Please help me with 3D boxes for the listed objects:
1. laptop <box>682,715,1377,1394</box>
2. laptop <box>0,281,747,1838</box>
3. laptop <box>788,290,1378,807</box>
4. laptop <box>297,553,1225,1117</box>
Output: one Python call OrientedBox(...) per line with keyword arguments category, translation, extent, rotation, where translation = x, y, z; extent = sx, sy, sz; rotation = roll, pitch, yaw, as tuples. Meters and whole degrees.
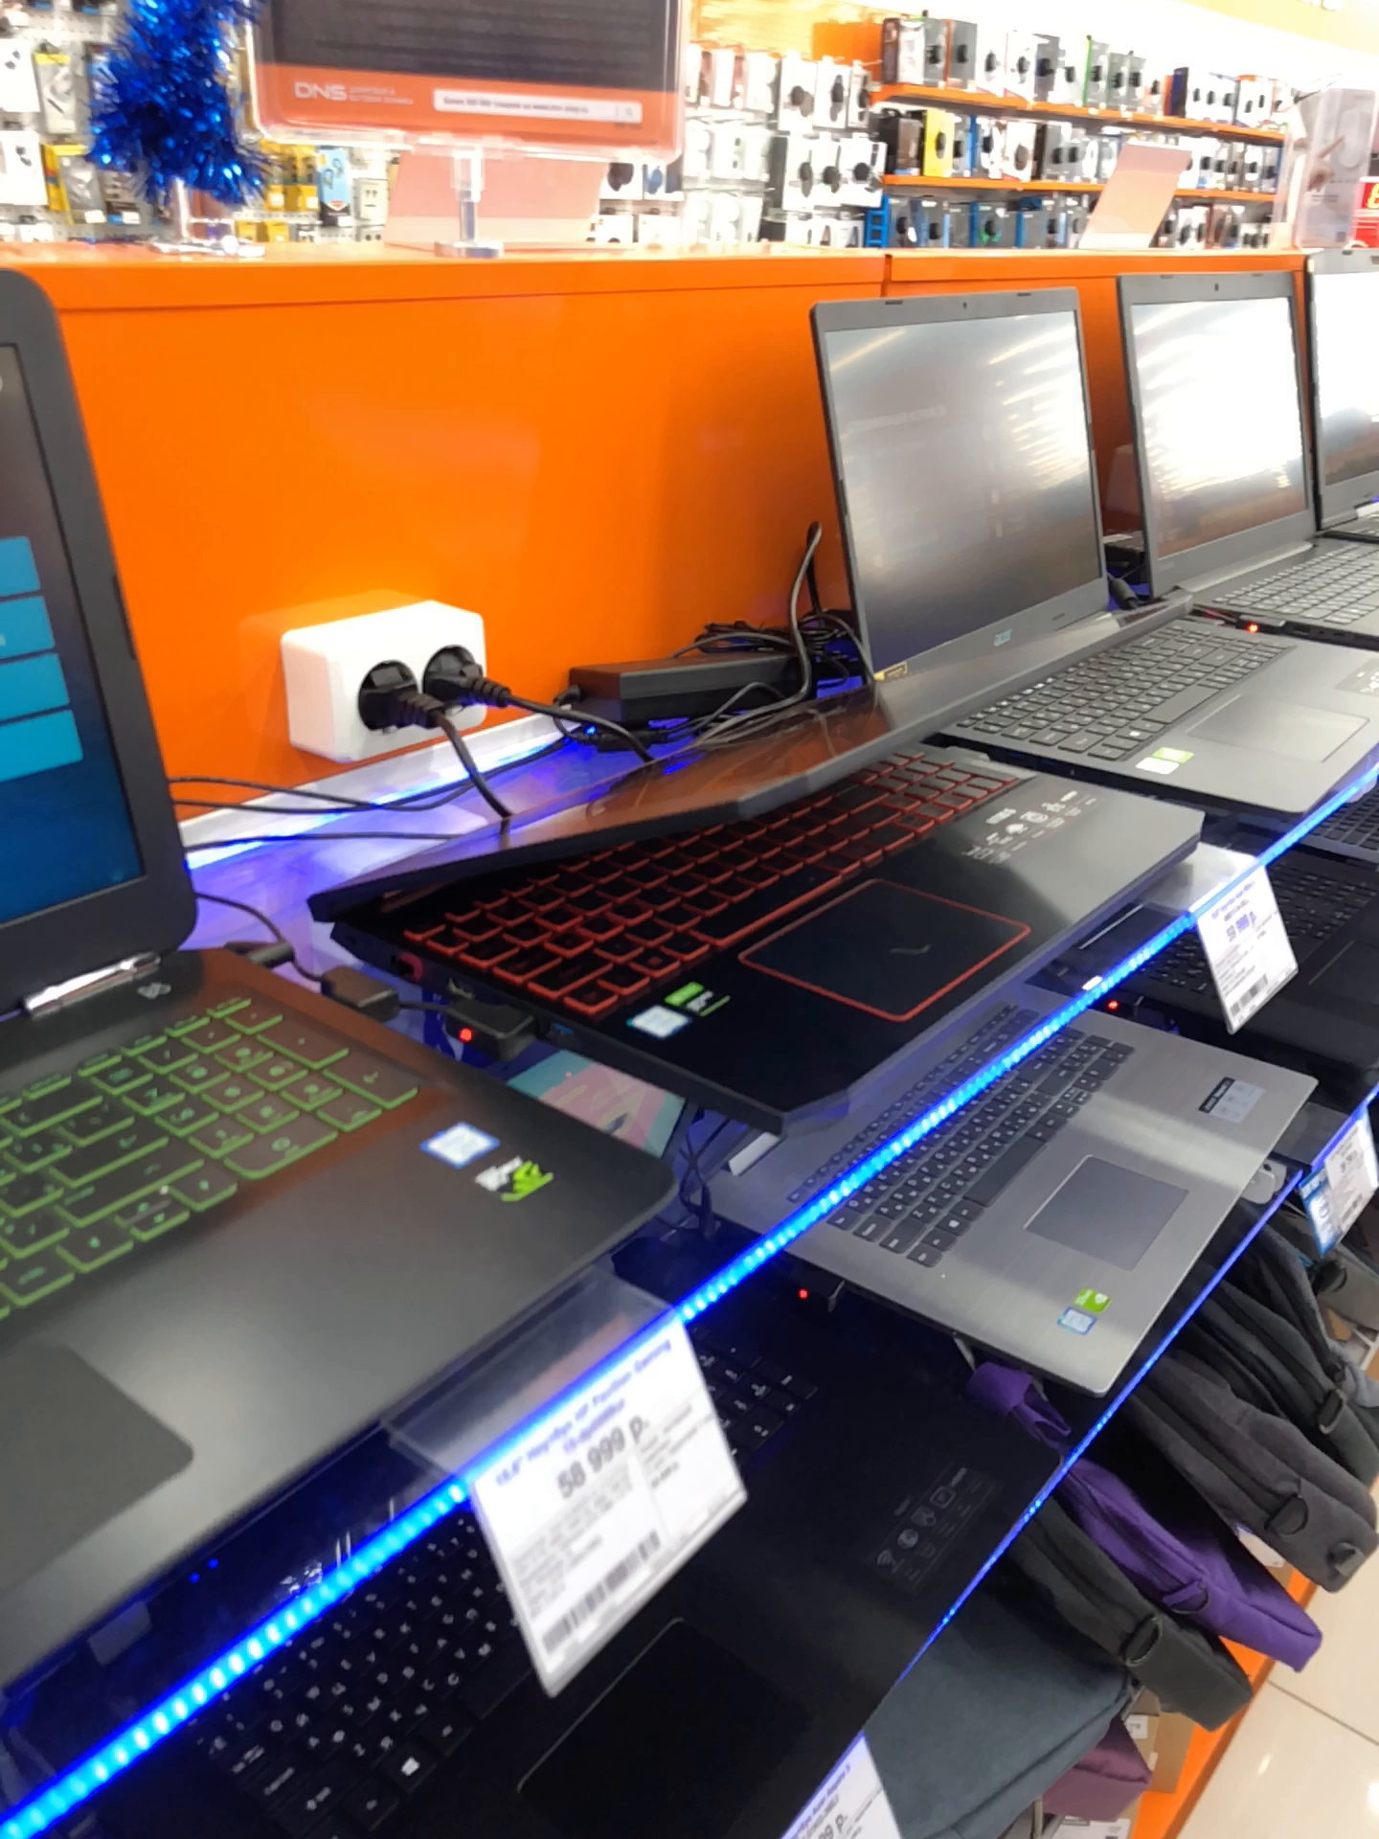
OrientedBox(category="laptop", translation=(0.232, 0.048, 1.011), extent=(0.296, 0.221, 0.406), rotation=(18, 30, 33))
OrientedBox(category="laptop", translation=(-0.252, -0.009, 0.359), extent=(0.310, 0.250, 0.416), rotation=(19, 30, 34))
OrientedBox(category="laptop", translation=(0.298, -0.260, 0.947), extent=(0.312, 0.226, 0.344), rotation=(19, 30, 33))
OrientedBox(category="laptop", translation=(0.049, -0.072, 0.682), extent=(0.248, 0.103, 0.359), rotation=(19, 30, 33))
